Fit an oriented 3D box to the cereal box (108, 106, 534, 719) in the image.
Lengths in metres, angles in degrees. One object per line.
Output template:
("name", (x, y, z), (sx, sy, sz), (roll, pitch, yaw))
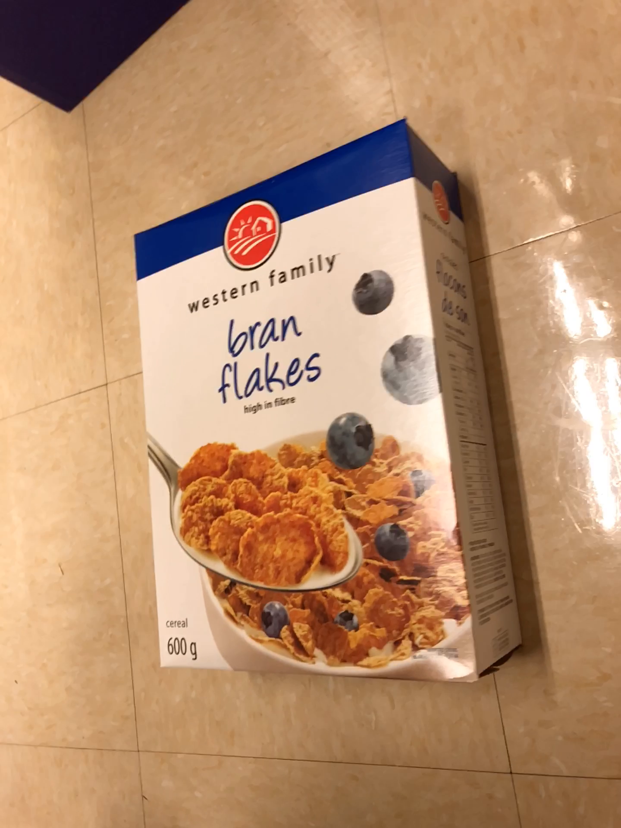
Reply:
("cereal box", (-0.007, 0.010, 0.425), (0.221, 0.090, 0.300), (-11, 80, 32))
